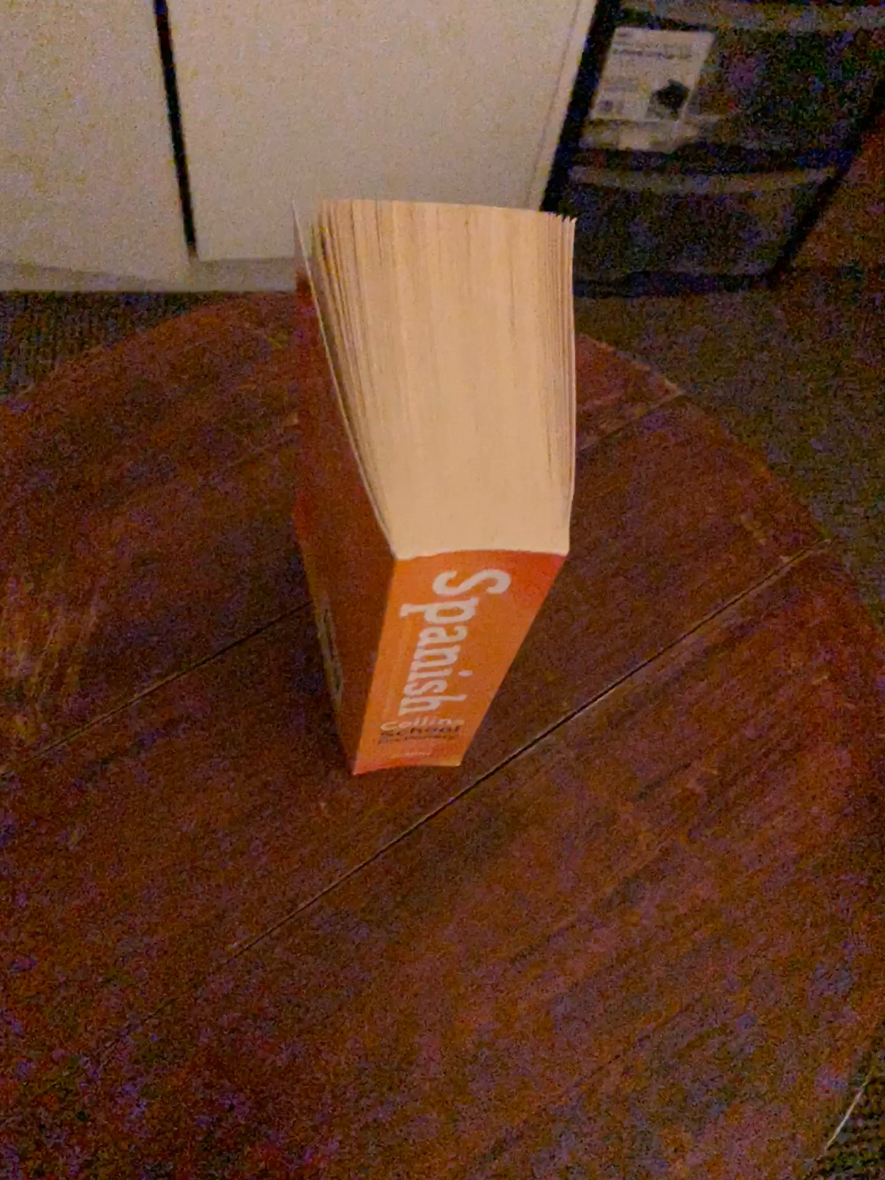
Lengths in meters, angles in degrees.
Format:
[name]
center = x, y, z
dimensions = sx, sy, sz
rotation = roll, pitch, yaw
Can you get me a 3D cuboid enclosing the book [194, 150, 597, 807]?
[book]
center = -0.006, -0.021, 0.279
dimensions = 0.080, 0.149, 0.141
rotation = 0, 64, 2
